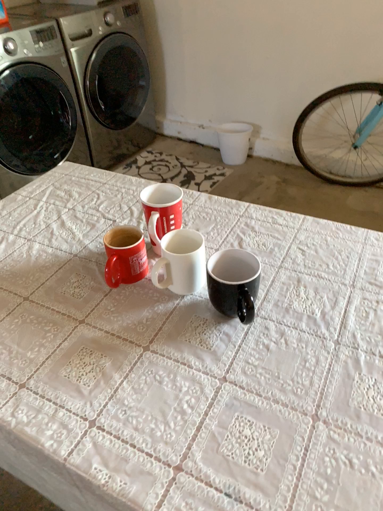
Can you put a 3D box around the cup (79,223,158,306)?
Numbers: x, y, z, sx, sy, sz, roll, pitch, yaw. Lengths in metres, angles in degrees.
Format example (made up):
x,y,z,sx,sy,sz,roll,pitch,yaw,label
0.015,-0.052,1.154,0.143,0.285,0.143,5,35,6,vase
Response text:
x,y,z,sx,sy,sz,roll,pitch,yaw,label
-0.148,0.014,0.825,0.090,0.090,0.140,13,43,21,cup

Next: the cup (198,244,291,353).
x,y,z,sx,sy,sz,roll,pitch,yaw,label
0.089,0.072,0.712,0.110,0.090,0.161,-13,40,-10,cup

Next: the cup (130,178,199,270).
x,y,z,sx,sy,sz,roll,pitch,yaw,label
-0.053,-0.074,0.882,0.100,0.139,0.140,9,41,16,cup

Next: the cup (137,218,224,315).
x,y,z,sx,sy,sz,roll,pitch,yaw,label
-0.018,0.019,0.800,0.100,0.110,0.140,29,50,34,cup
